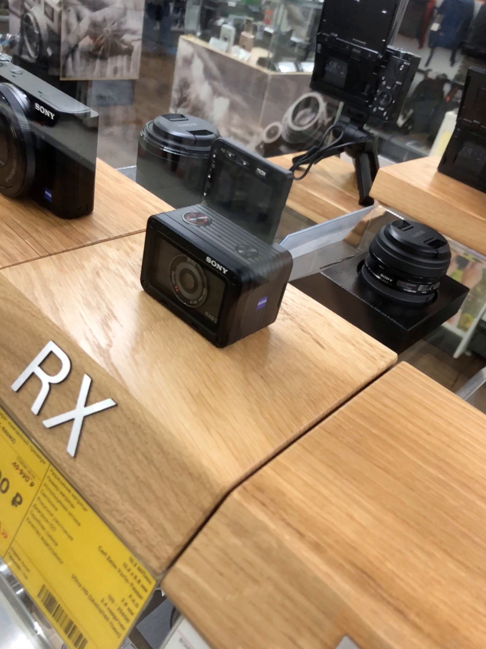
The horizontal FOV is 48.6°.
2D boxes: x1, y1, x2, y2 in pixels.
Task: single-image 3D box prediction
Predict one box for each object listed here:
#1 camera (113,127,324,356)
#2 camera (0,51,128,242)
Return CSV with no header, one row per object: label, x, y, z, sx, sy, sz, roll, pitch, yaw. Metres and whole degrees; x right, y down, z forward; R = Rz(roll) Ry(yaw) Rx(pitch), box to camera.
camera,-0.014,-0.038,0.230,0.062,0.067,0.050,36,40,28
camera,-0.118,-0.105,0.309,0.105,0.067,0.041,36,40,28
